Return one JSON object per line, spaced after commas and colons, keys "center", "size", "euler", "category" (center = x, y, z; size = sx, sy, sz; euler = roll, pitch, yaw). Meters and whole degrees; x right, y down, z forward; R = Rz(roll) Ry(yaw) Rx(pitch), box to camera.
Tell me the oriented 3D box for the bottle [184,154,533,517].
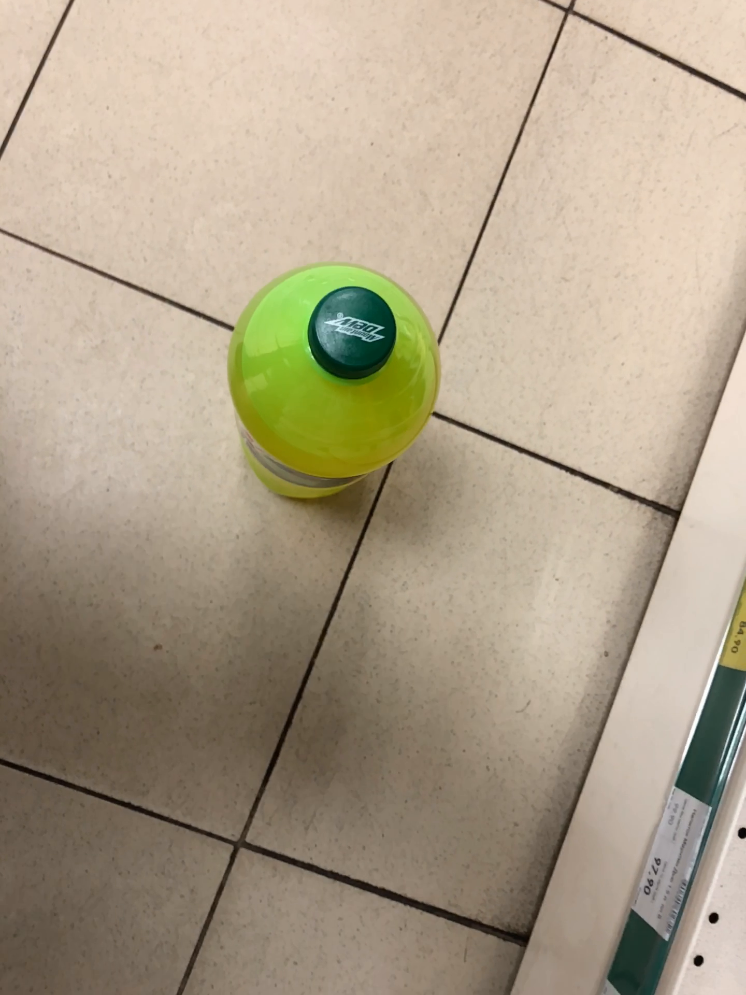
{"center": [-0.023, -0.051, 0.426], "size": [0.100, 0.296, 0.095], "euler": [0, 87, -8], "category": "bottle"}
